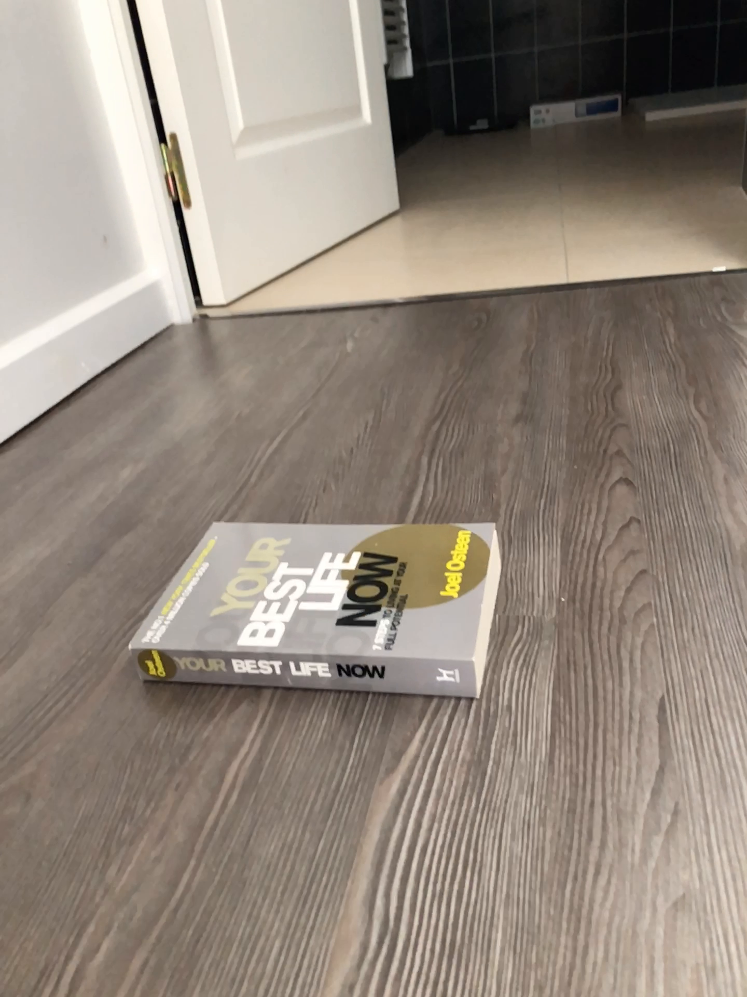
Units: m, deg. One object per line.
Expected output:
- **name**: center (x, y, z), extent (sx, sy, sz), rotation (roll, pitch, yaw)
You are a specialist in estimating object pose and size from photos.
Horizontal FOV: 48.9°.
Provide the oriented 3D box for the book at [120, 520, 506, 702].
- **book**: center (-0.027, 0.060, 0.498), extent (0.201, 0.030, 0.137), rotation (0, 28, 14)
